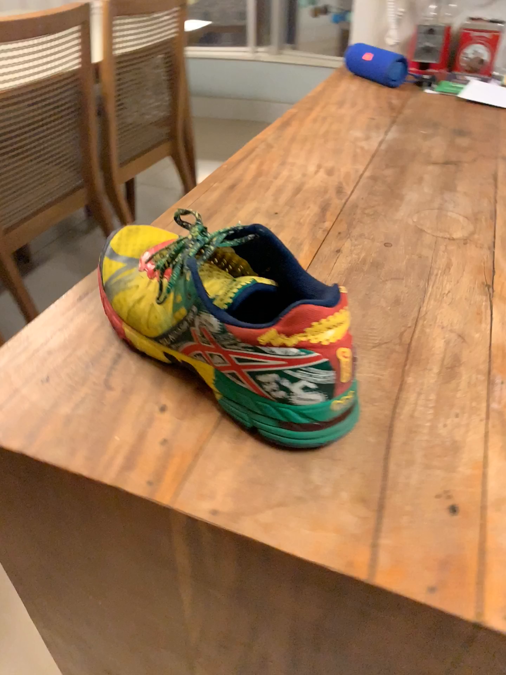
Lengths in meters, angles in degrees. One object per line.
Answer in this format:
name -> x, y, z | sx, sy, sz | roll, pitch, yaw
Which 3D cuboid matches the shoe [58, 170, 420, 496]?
shoe -> -0.032, -0.031, 0.422 | 0.113, 0.102, 0.296 | -27, 46, -30
